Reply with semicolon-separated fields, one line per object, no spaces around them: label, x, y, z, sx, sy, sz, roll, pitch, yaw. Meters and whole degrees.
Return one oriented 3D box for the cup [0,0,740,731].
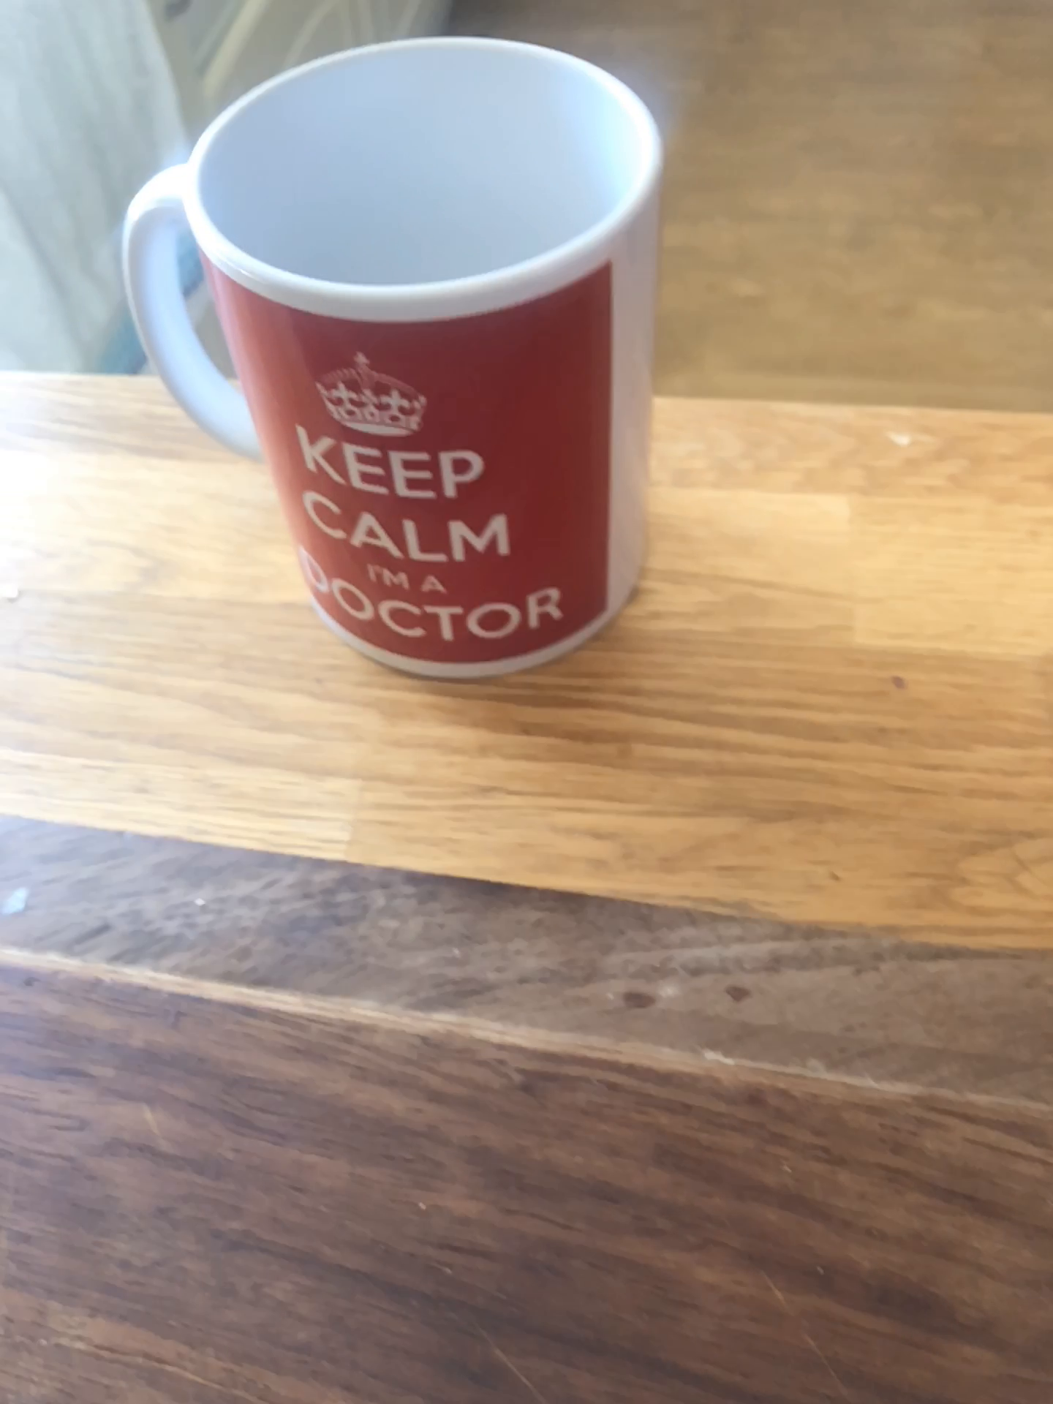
cup;-0.030;-0.070;0.244;0.123;0.094;0.090;13;58;13
